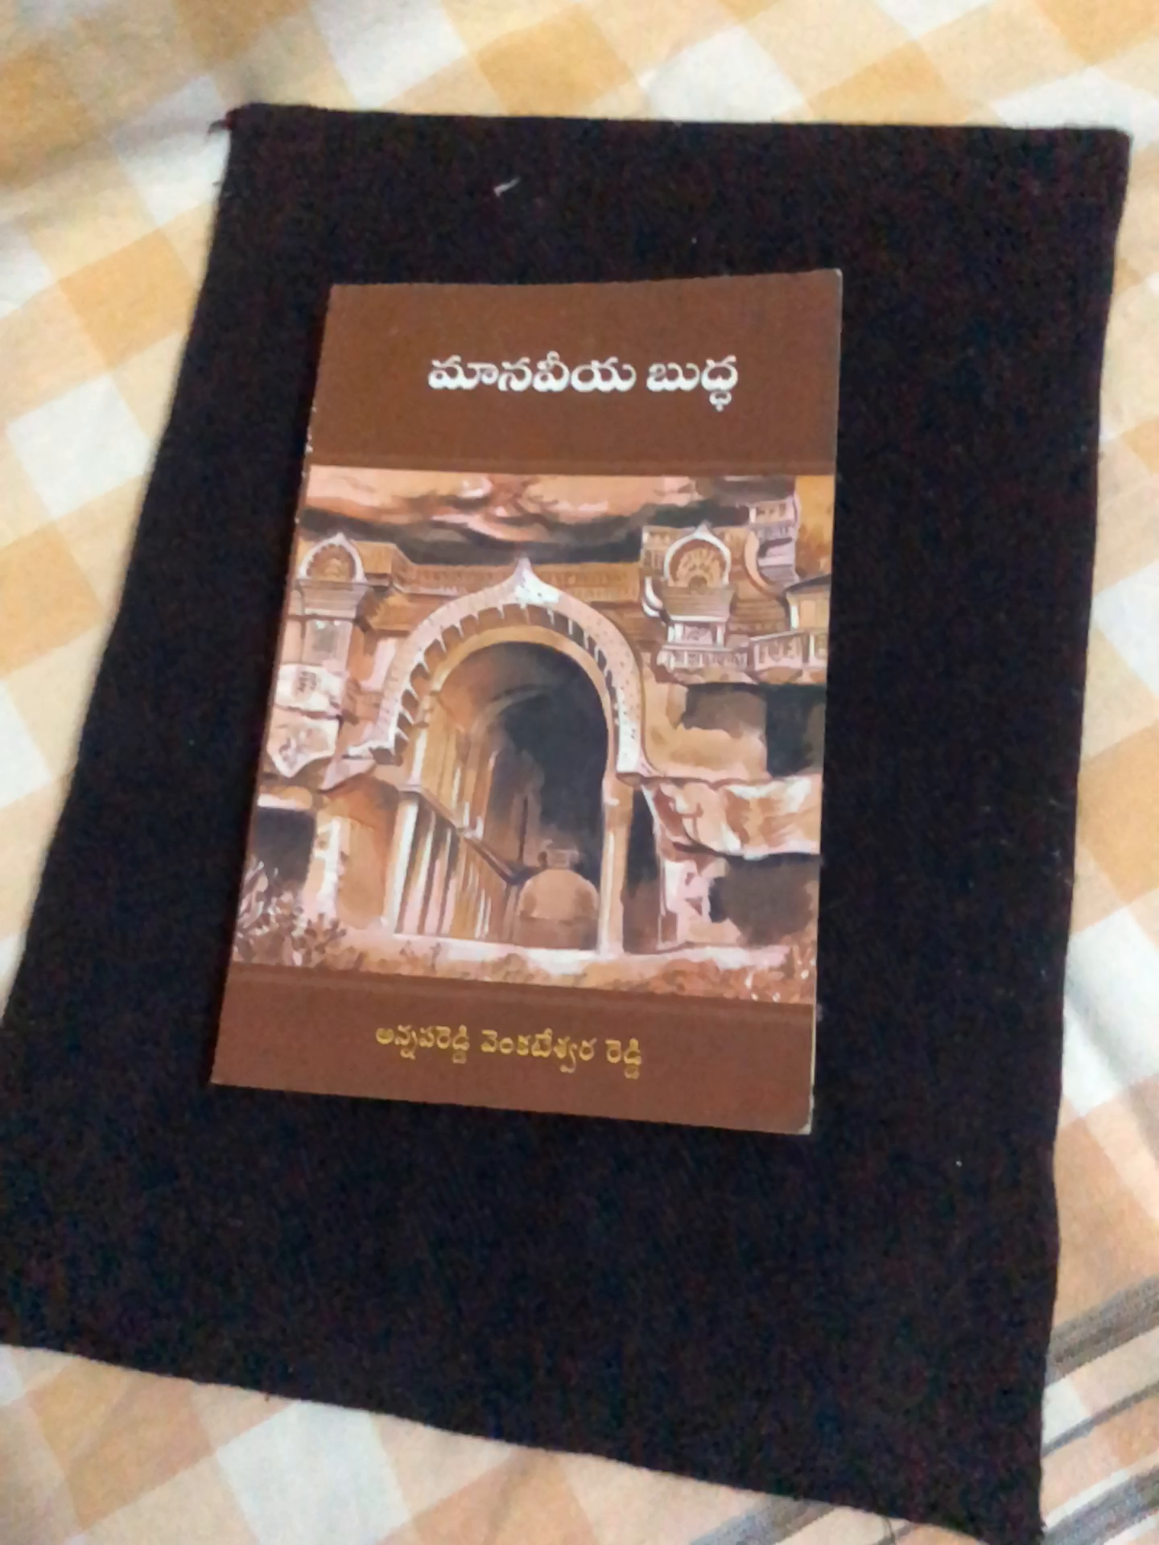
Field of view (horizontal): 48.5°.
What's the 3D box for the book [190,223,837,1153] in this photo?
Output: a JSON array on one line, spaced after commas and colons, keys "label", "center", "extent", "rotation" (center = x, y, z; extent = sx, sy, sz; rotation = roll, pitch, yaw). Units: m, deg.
[{"label": "book", "center": [-0.010, -0.030, 0.324], "extent": [0.140, 0.020, 0.230], "rotation": [2, 75, 11]}]
